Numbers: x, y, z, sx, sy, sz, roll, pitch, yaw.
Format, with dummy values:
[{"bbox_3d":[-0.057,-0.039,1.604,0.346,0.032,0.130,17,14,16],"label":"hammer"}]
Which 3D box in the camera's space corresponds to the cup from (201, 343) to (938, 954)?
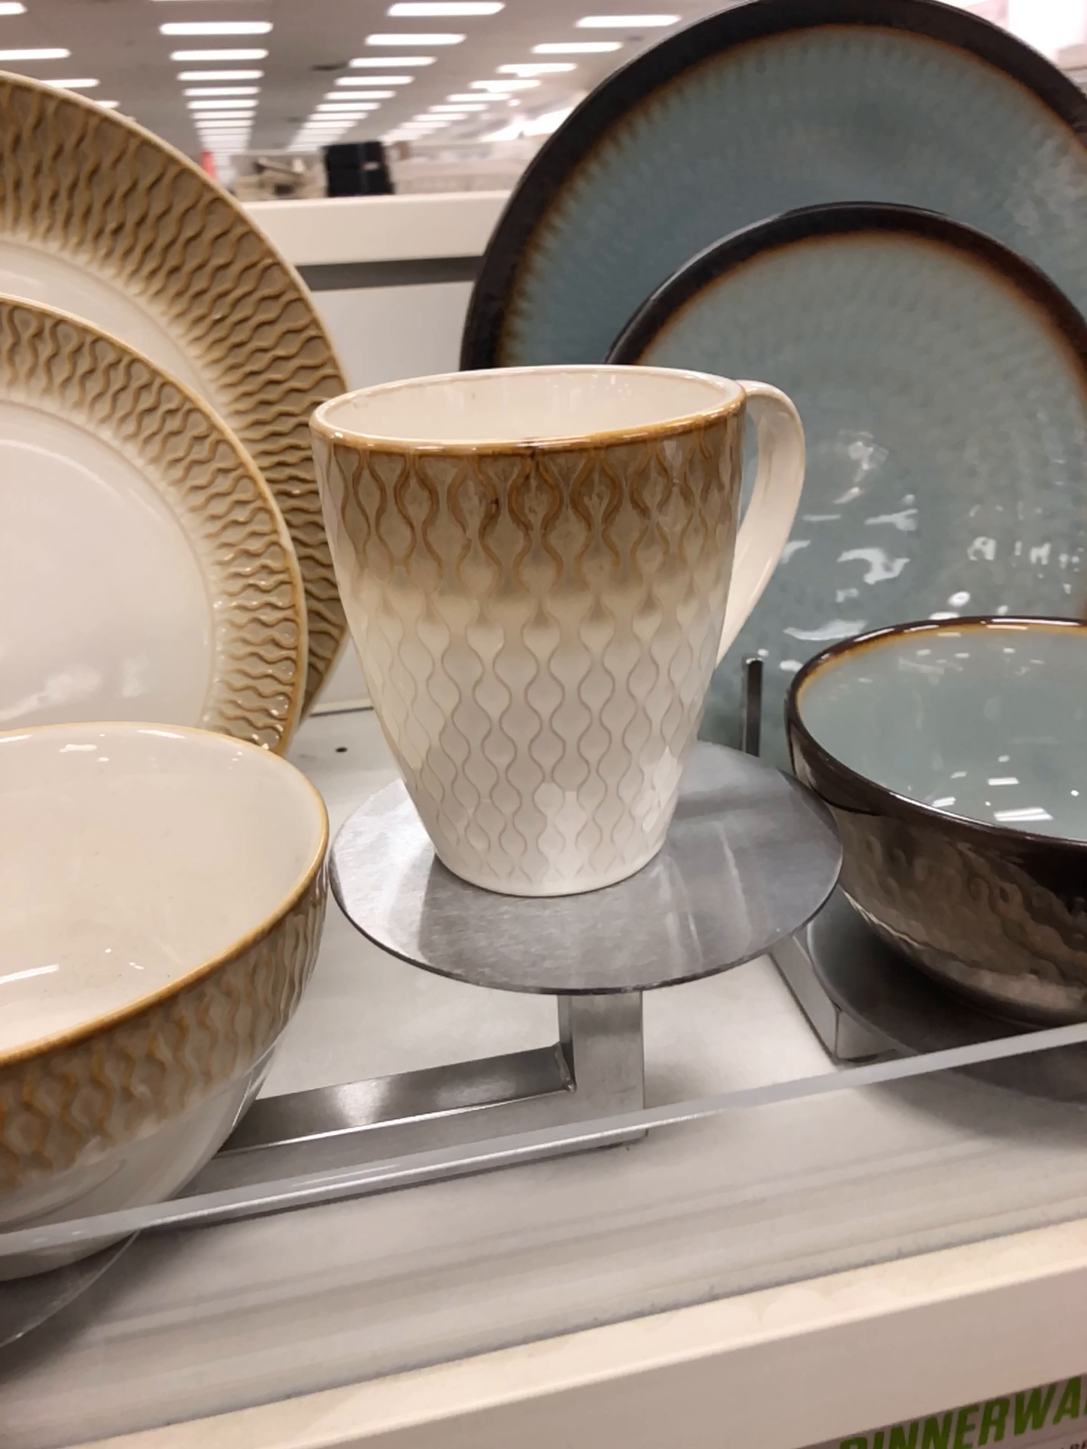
[{"bbox_3d":[0.012,-0.032,0.276,0.100,0.089,0.129,16,29,37],"label":"cup"}]
